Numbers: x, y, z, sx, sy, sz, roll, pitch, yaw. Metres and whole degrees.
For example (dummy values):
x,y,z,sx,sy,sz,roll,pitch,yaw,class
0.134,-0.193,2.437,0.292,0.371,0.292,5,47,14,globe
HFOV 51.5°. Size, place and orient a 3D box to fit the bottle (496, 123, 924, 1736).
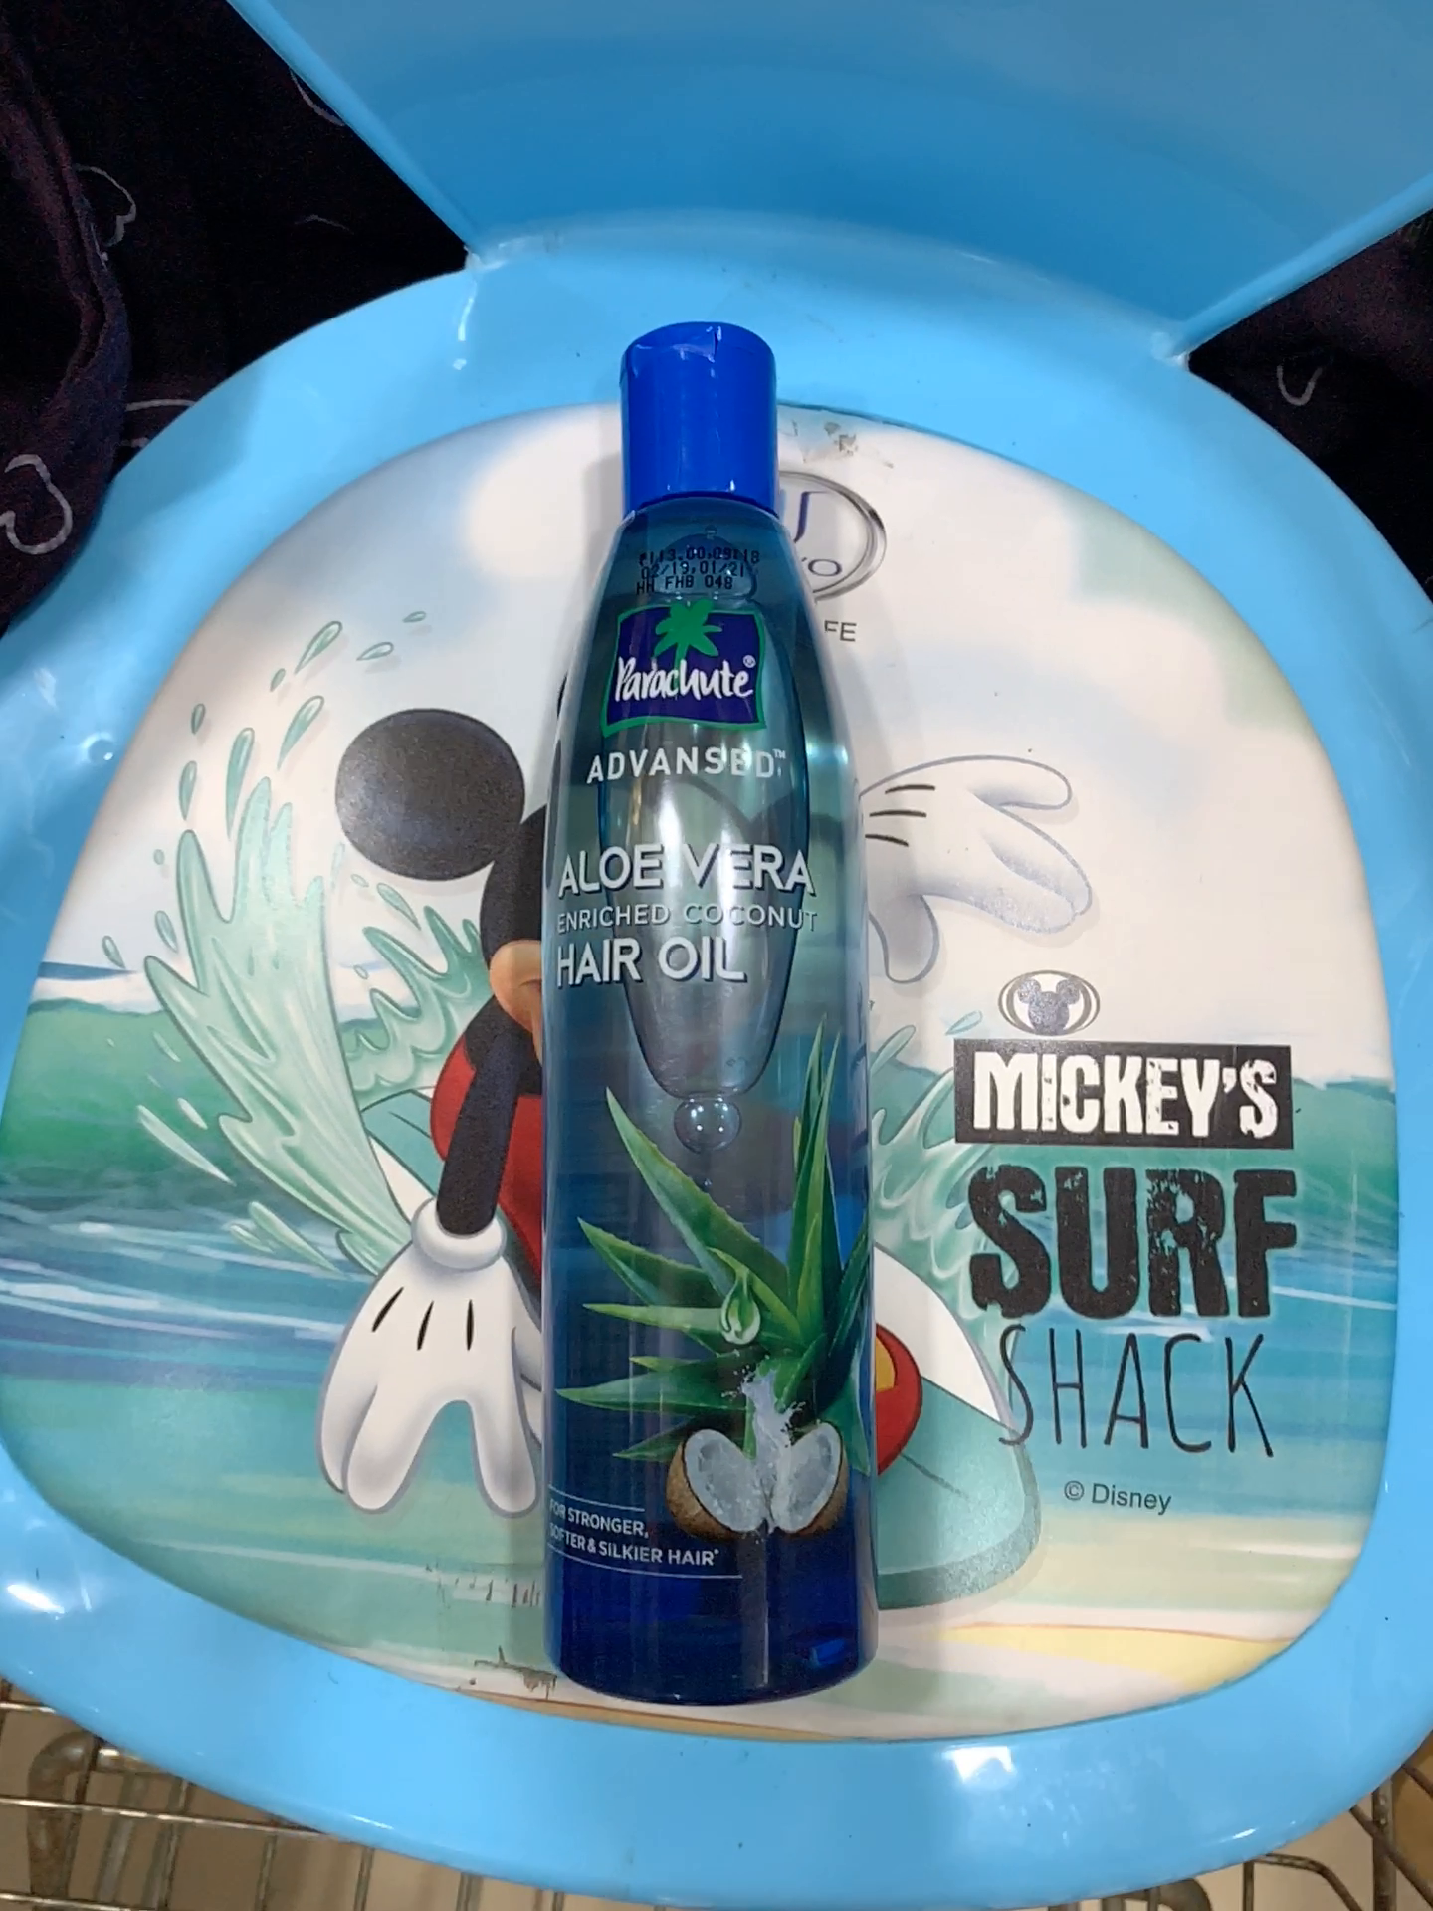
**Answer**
x,y,z,sx,sy,sz,roll,pitch,yaw,class
0.000,-0.005,0.209,0.050,0.050,0.200,1,87,-1,bottle
